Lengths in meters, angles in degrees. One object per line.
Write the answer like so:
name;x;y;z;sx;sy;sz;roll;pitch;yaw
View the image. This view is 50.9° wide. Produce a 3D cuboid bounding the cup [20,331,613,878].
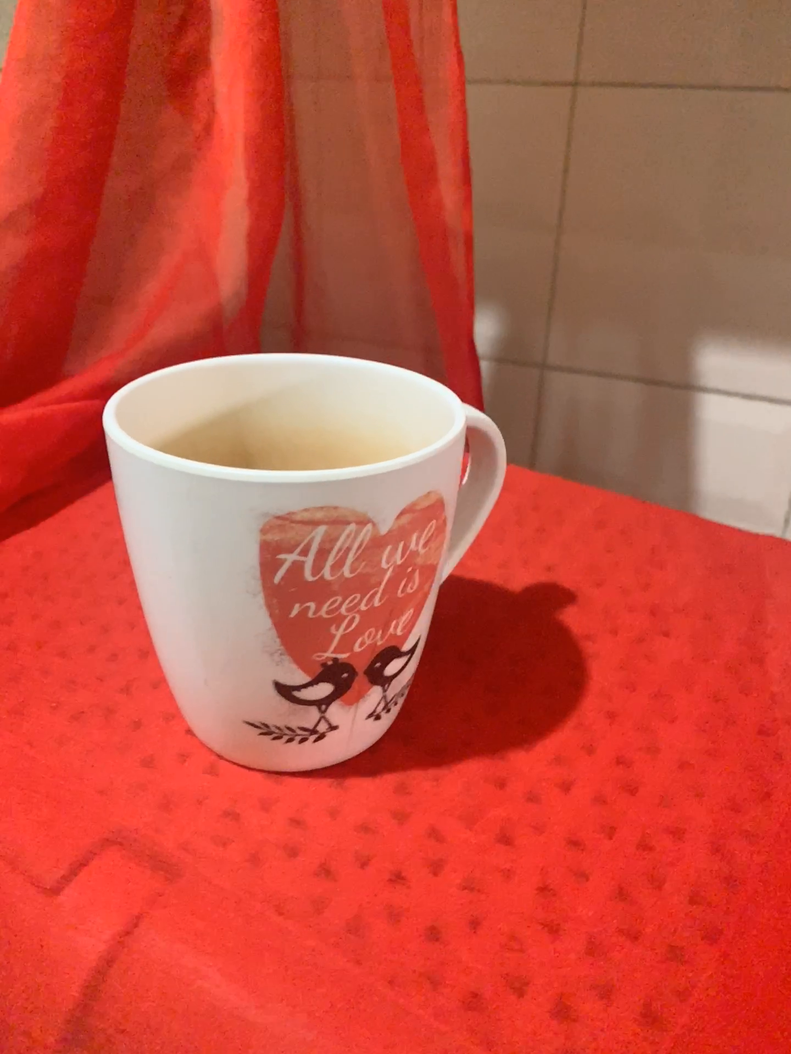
cup;-0.022;0.006;0.214;0.110;0.079;0.091;-15;32;-29
